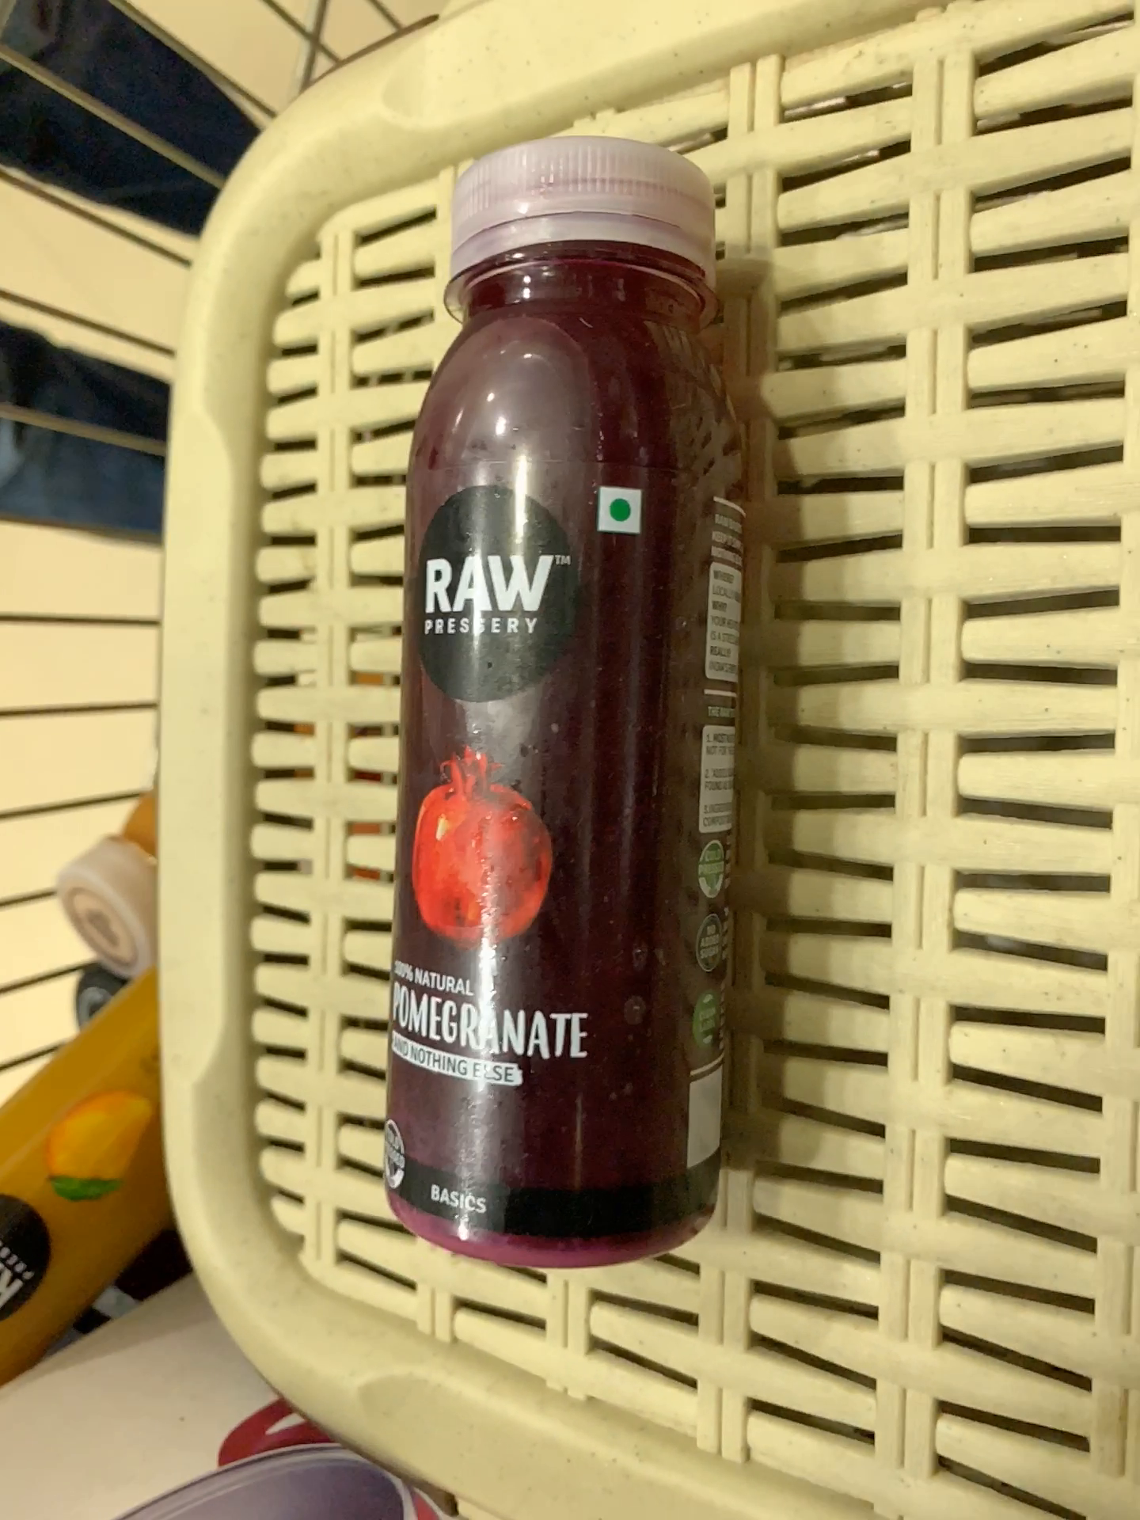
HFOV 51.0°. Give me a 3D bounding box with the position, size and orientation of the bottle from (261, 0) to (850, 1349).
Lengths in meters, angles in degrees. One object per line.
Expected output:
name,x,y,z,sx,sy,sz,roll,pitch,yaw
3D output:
bottle,-0.002,-0.015,0.170,0.060,0.050,0.160,4,93,31
